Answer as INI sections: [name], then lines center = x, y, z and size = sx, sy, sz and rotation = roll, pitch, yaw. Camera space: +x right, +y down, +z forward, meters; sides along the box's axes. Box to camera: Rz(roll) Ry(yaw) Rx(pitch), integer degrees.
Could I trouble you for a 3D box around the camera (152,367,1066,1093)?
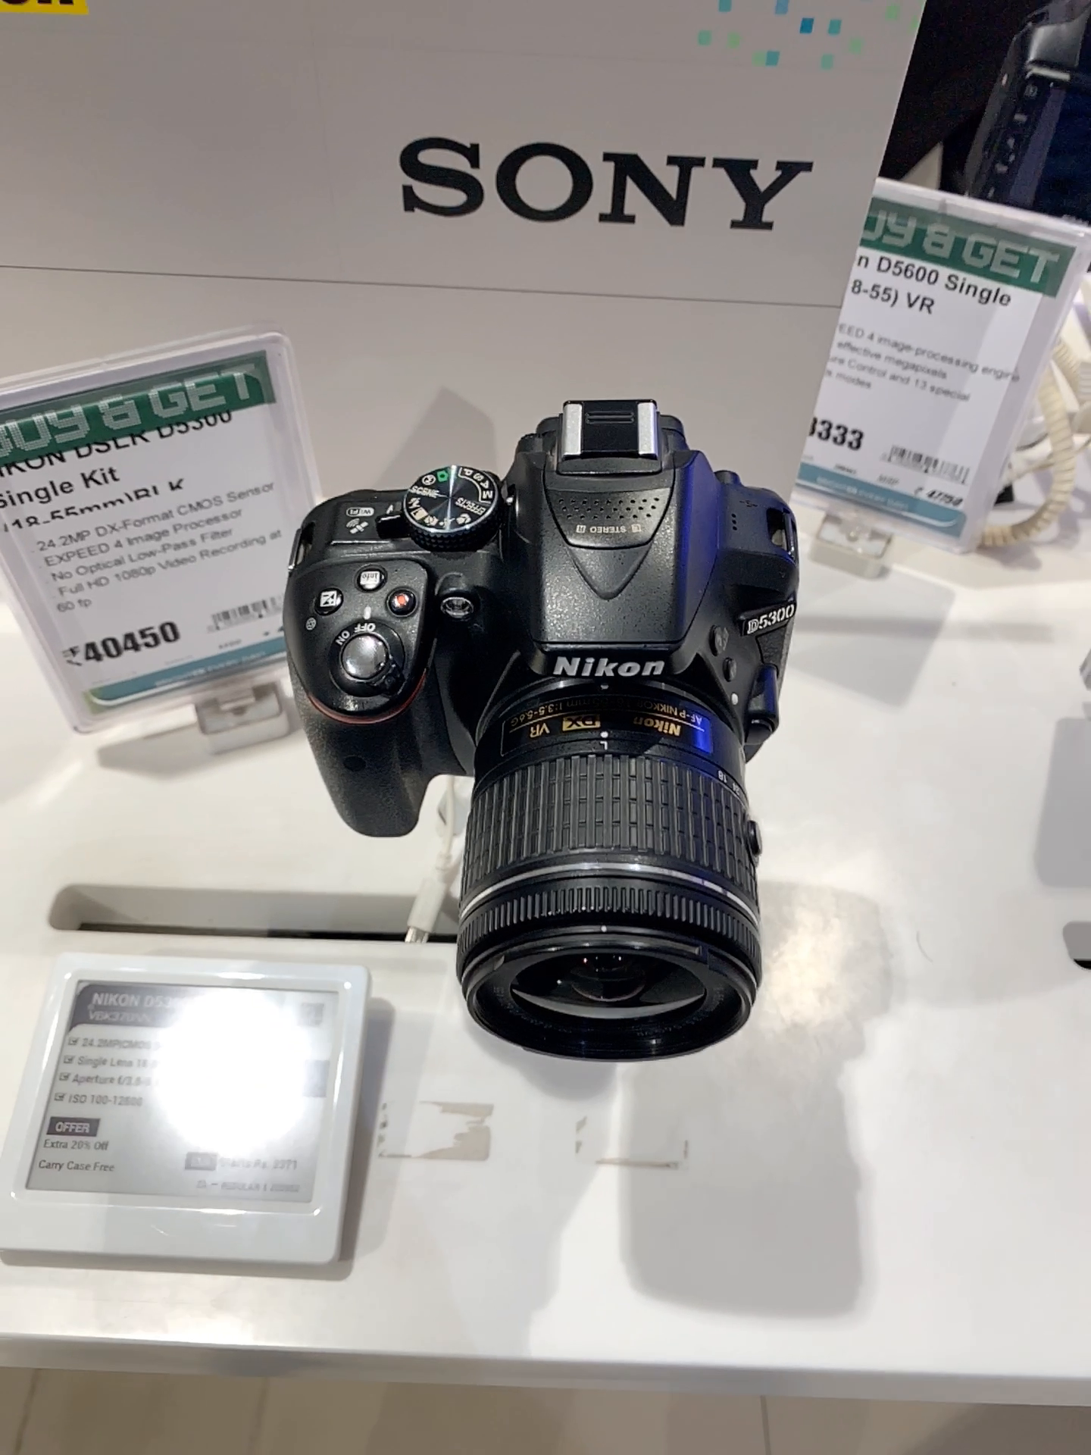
[camera]
center = 0.007, -0.004, 0.228
size = 0.130, 0.070, 0.130
rotation = 0, 51, -2
